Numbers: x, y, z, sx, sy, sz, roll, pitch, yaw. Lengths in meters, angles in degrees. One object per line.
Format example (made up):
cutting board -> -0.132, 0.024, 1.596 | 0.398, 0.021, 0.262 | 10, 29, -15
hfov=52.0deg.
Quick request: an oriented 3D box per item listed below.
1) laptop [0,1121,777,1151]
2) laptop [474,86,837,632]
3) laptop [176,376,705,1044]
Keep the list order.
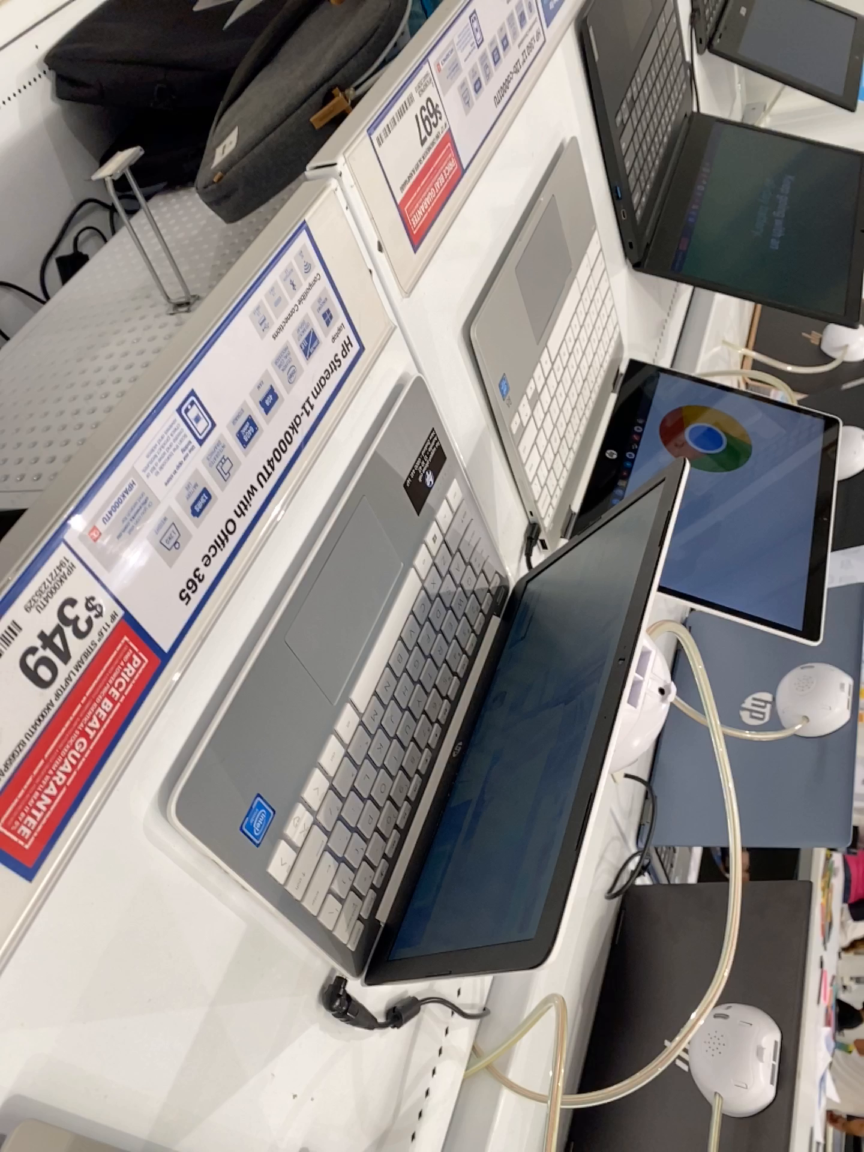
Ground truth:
laptop -> -0.045, 0.401, 0.248 | 0.276, 0.212, 0.327 | 62, 41, -43
laptop -> 0.202, -0.152, 0.693 | 0.258, 0.189, 0.298 | -66, 146, -34
laptop -> 0.037, 0.056, 0.467 | 0.181, 0.138, 0.277 | 63, 40, -41
